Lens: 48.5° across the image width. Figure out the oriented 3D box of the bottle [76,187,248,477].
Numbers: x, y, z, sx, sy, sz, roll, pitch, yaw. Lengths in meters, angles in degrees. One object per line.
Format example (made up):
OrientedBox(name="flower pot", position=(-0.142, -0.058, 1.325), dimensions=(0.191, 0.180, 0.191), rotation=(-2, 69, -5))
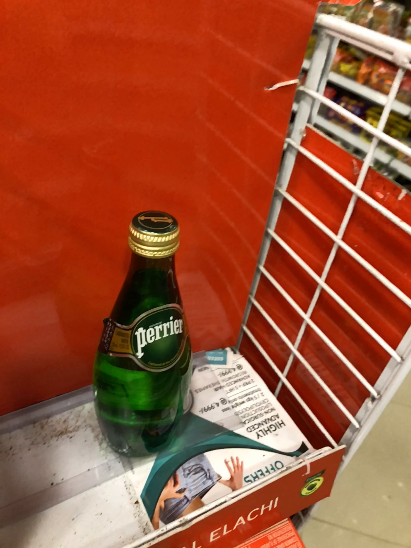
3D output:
OrientedBox(name="bottle", position=(-0.035, 0.043, 0.292), dimensions=(0.070, 0.179, 0.060), rotation=(-14, 44, -27))
